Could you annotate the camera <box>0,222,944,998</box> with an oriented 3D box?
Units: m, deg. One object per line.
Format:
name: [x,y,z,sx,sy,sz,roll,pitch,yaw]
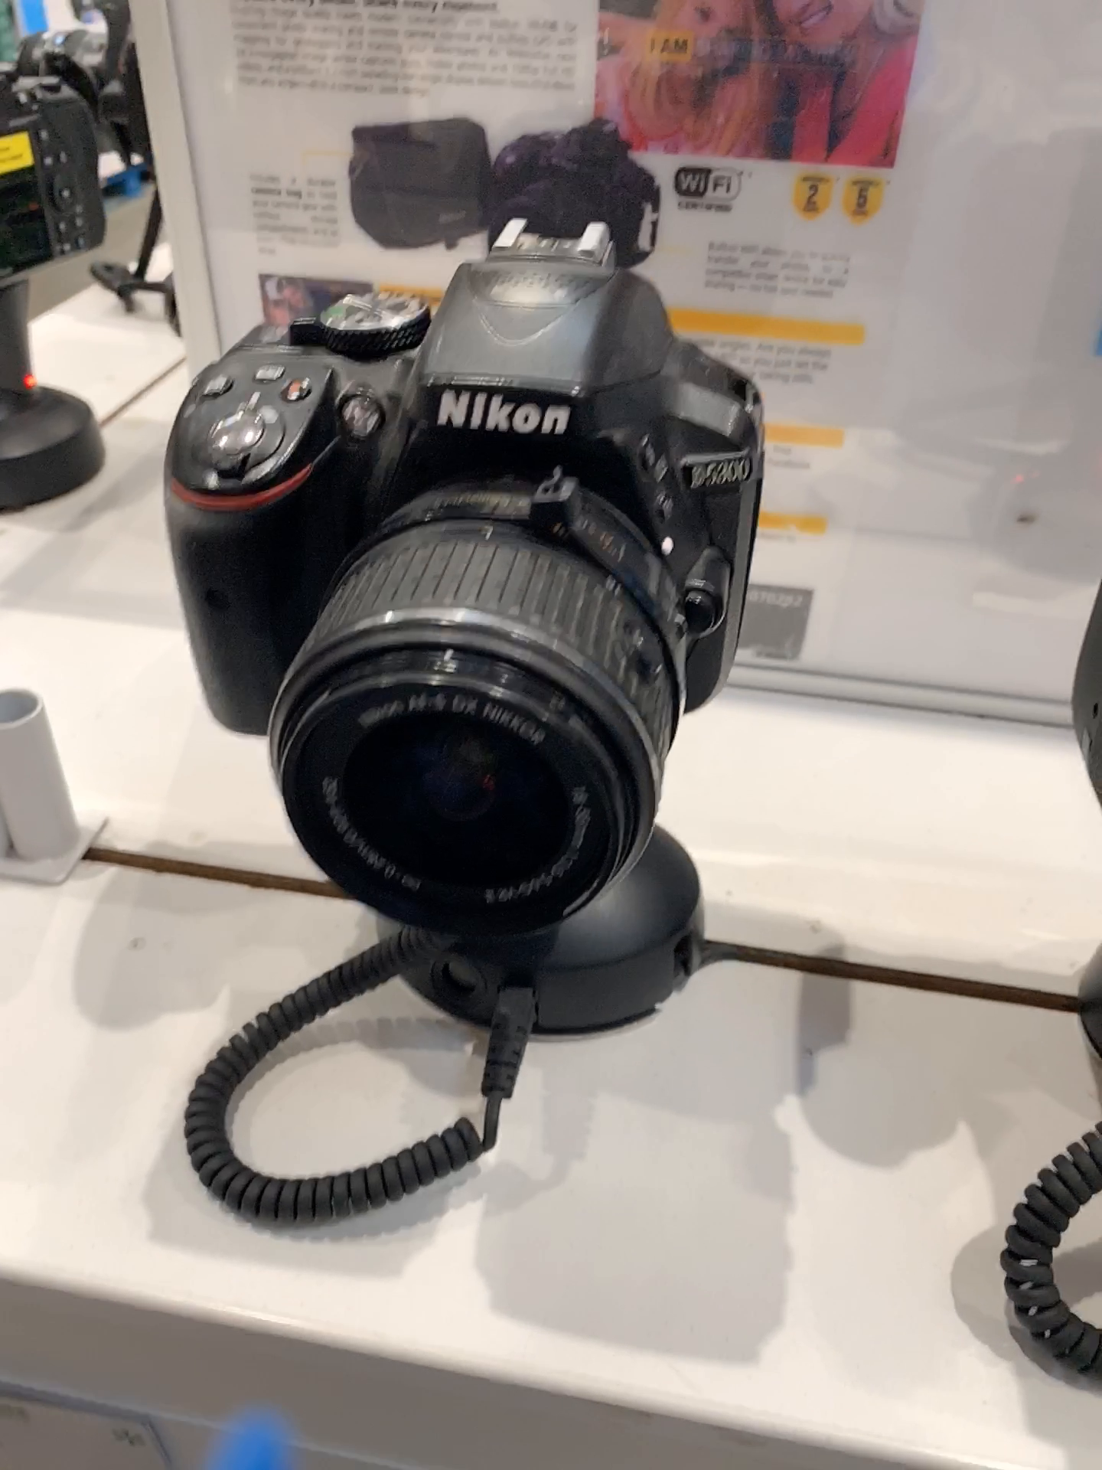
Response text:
camera: [-0.010,-0.036,0.209,0.120,0.069,0.141,5,36,4]
